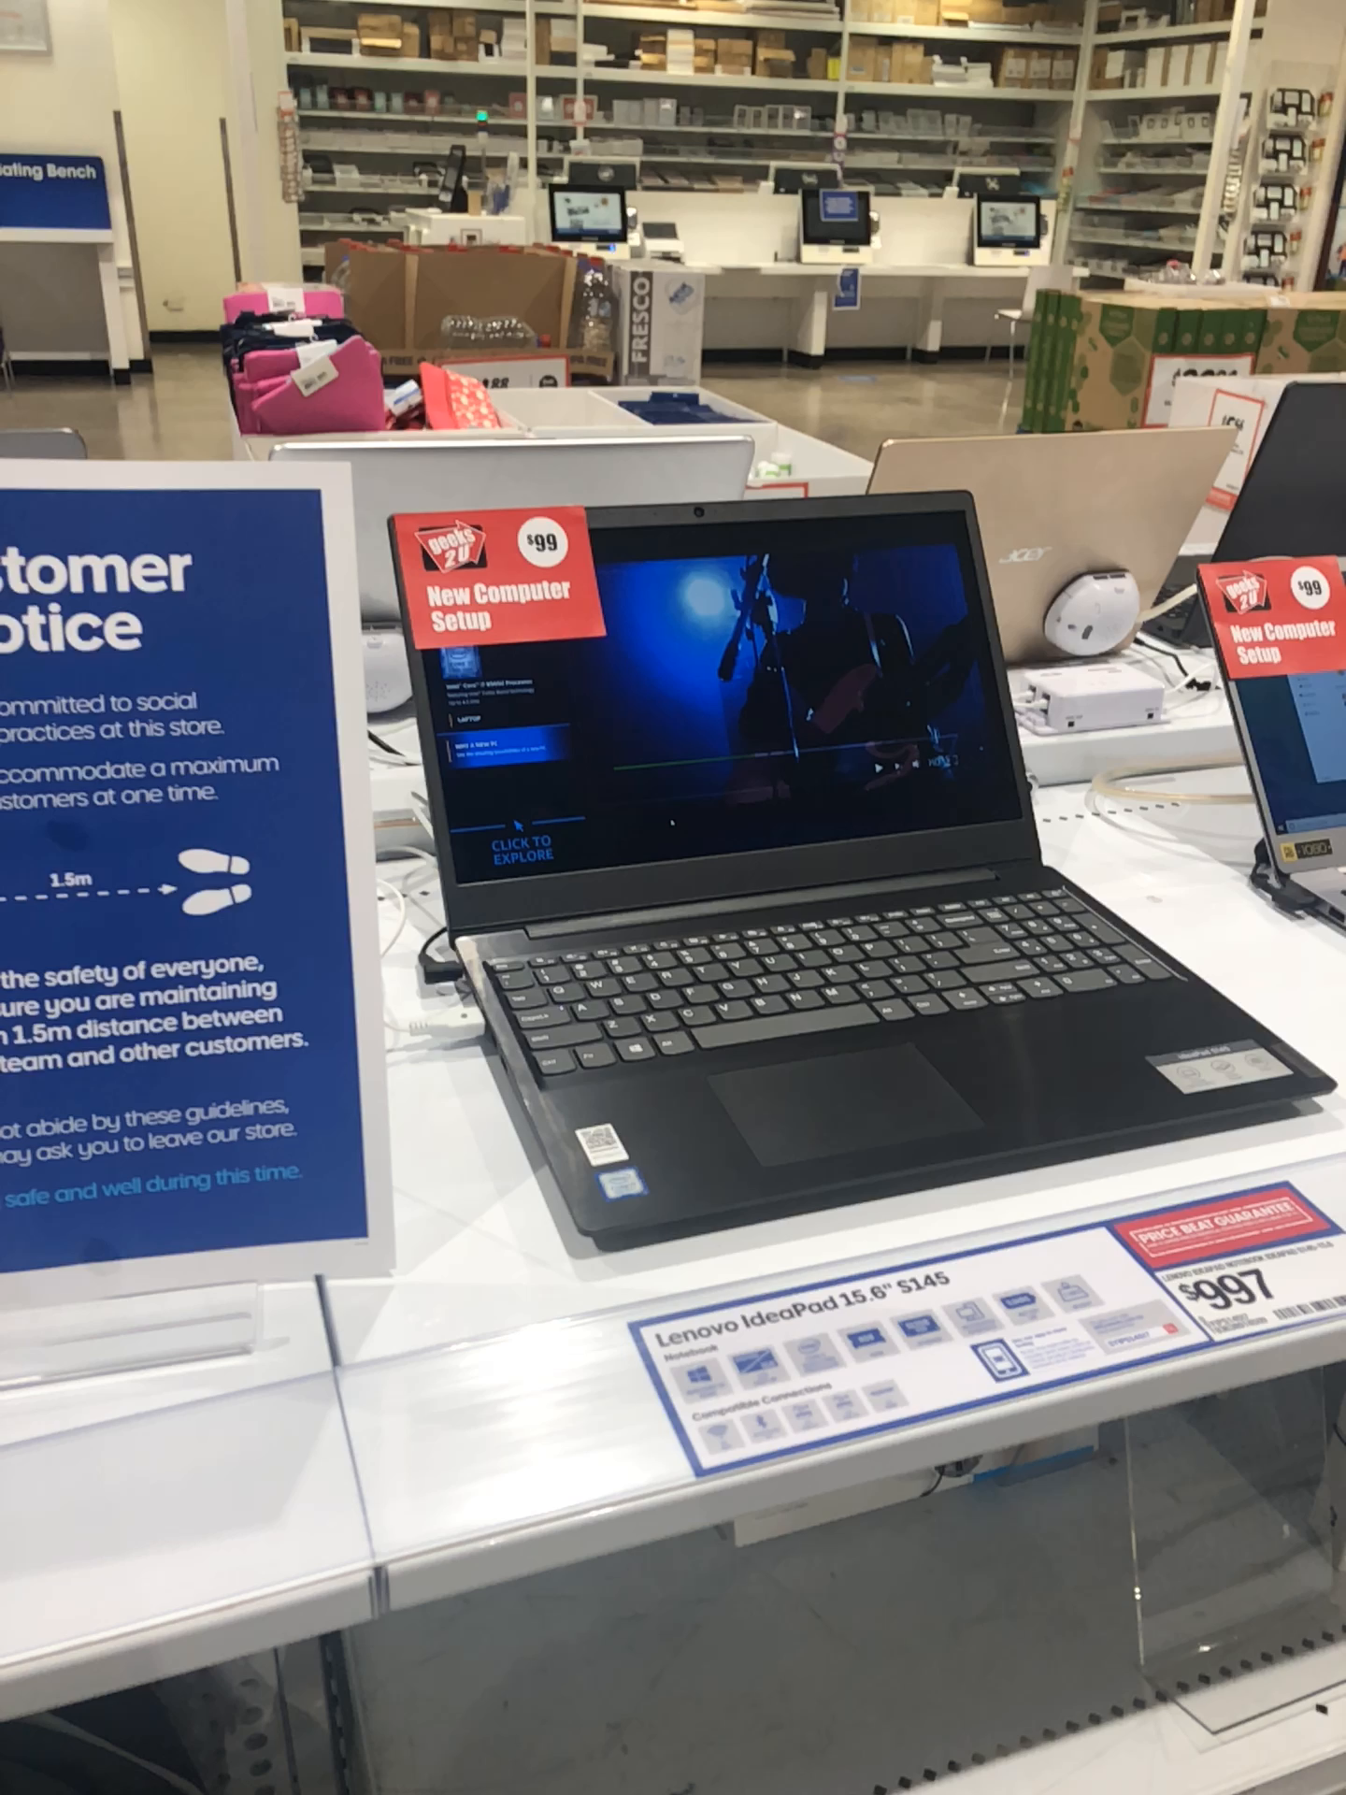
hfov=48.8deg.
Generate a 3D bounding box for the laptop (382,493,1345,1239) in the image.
[{"bbox_3d":[0.071,-0.059,0.730,0.353,0.192,0.374,-7,28,-19],"label":"laptop"}]
